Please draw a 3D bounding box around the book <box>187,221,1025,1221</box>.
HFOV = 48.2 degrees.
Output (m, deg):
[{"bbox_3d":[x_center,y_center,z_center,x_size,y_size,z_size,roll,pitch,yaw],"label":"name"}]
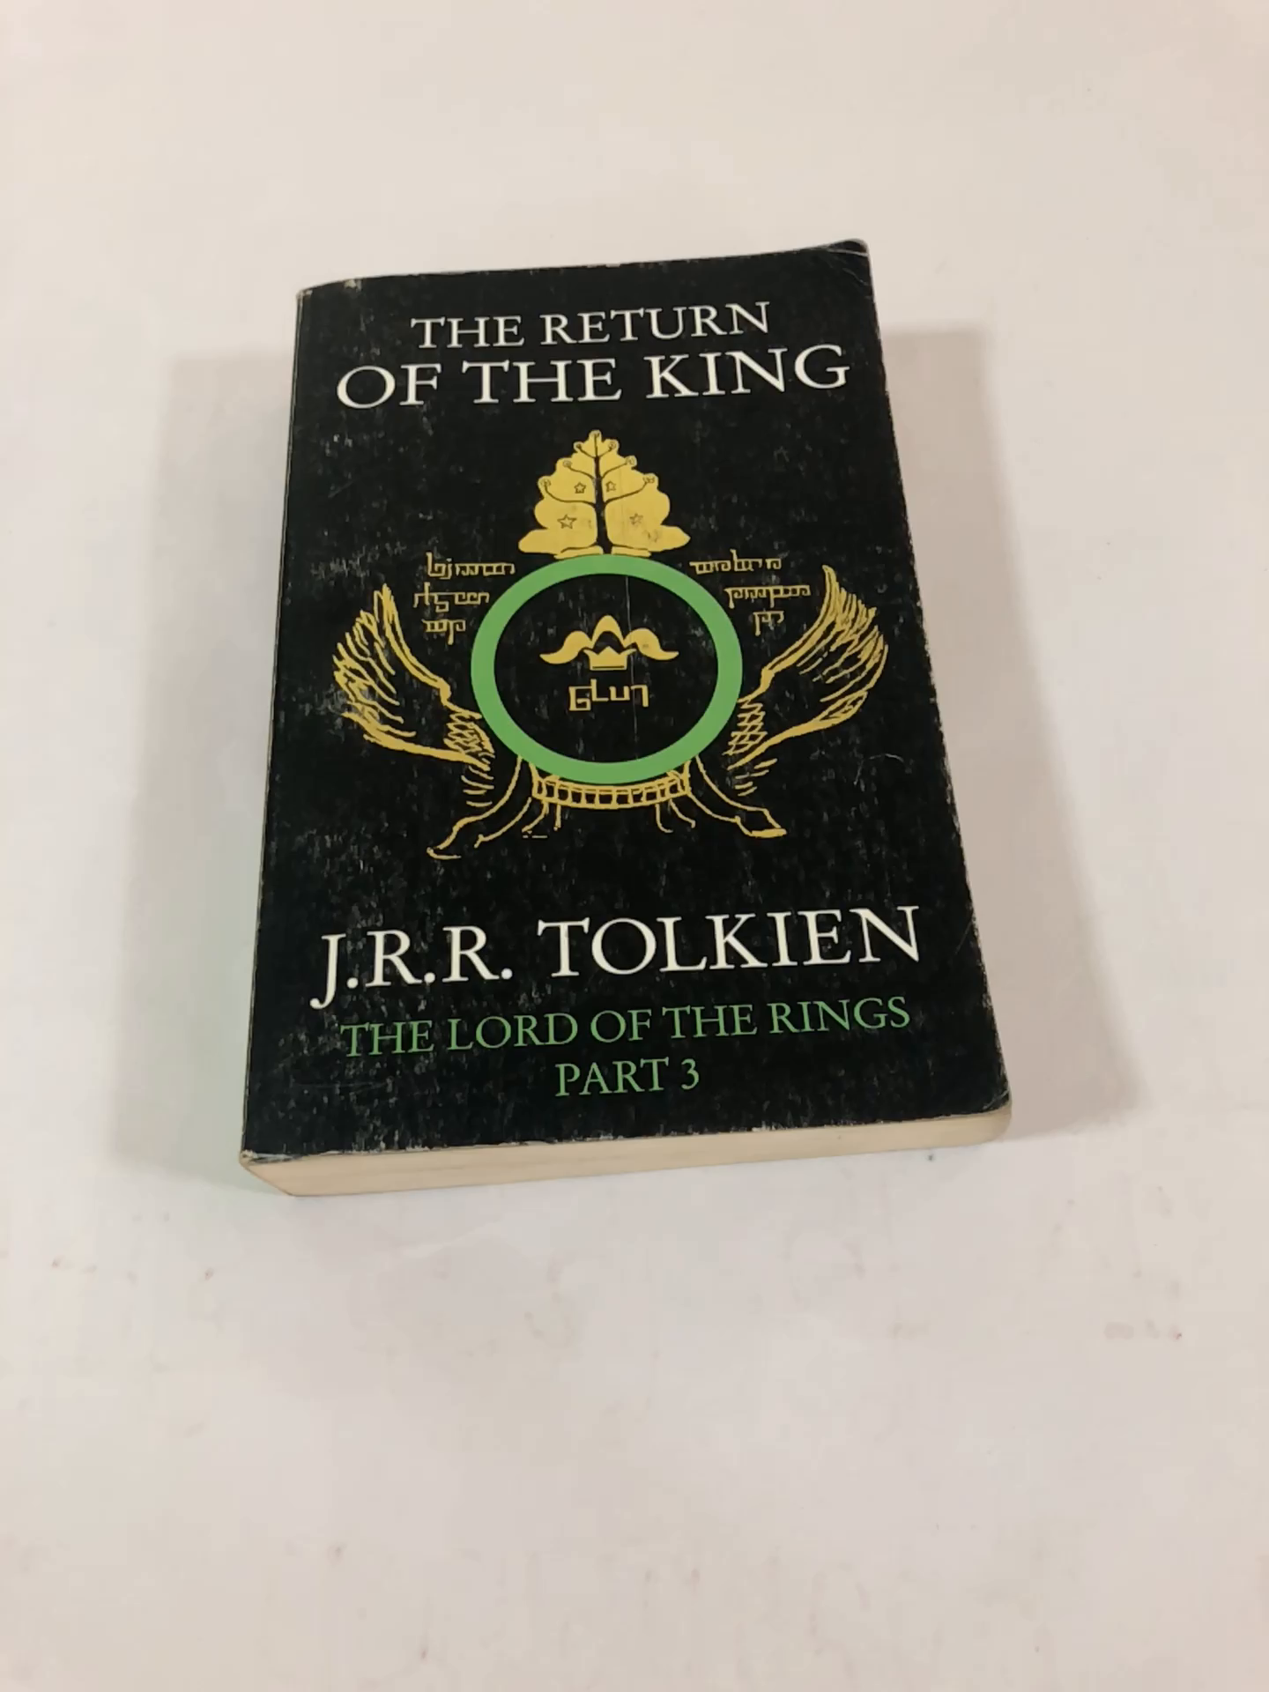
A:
[{"bbox_3d":[-0.010,-0.035,0.282,0.130,0.040,0.200,-3,64,-1],"label":"book"}]
